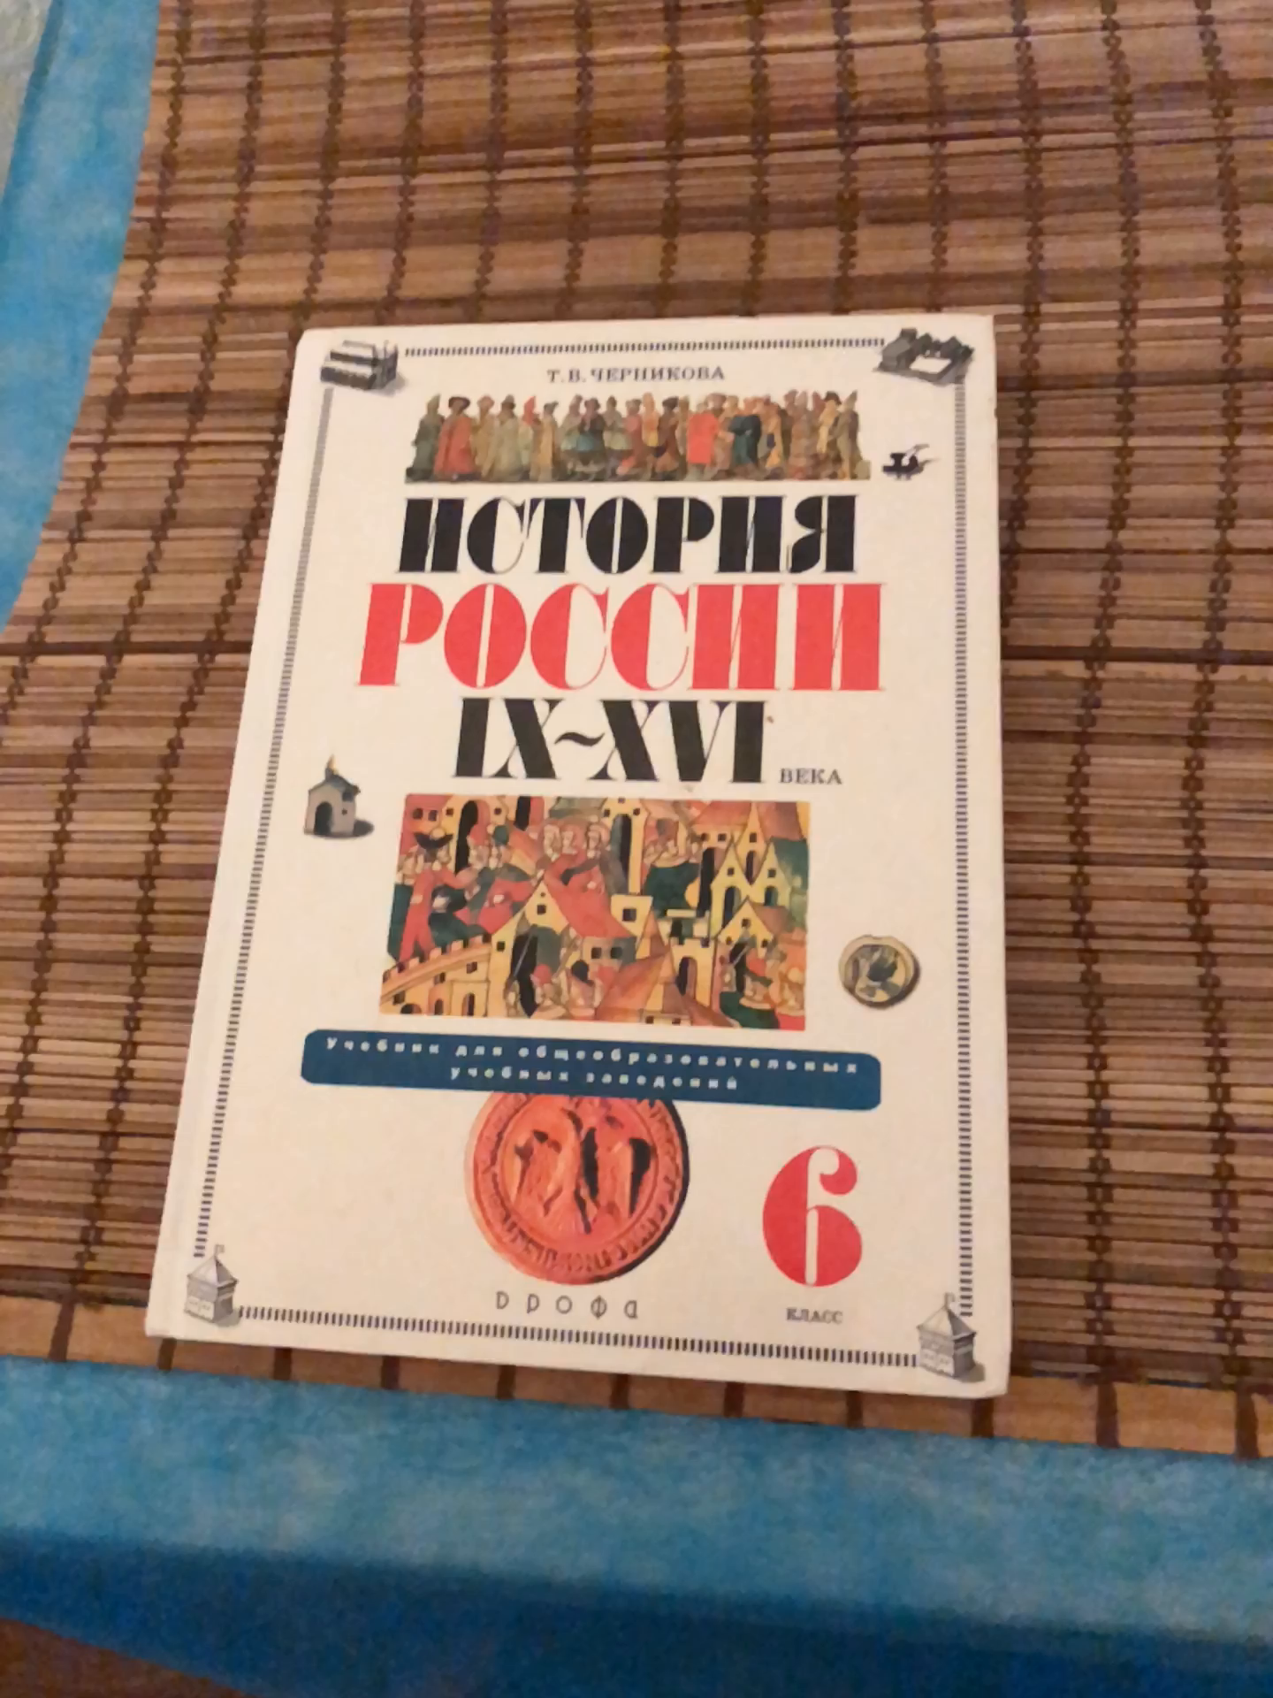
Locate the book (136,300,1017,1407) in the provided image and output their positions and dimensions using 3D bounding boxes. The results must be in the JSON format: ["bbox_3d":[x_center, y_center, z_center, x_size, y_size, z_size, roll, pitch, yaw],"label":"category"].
[{"bbox_3d":[-0.005,-0.011,0.316,0.169,0.029,0.240,1,72,8],"label":"book"}]
